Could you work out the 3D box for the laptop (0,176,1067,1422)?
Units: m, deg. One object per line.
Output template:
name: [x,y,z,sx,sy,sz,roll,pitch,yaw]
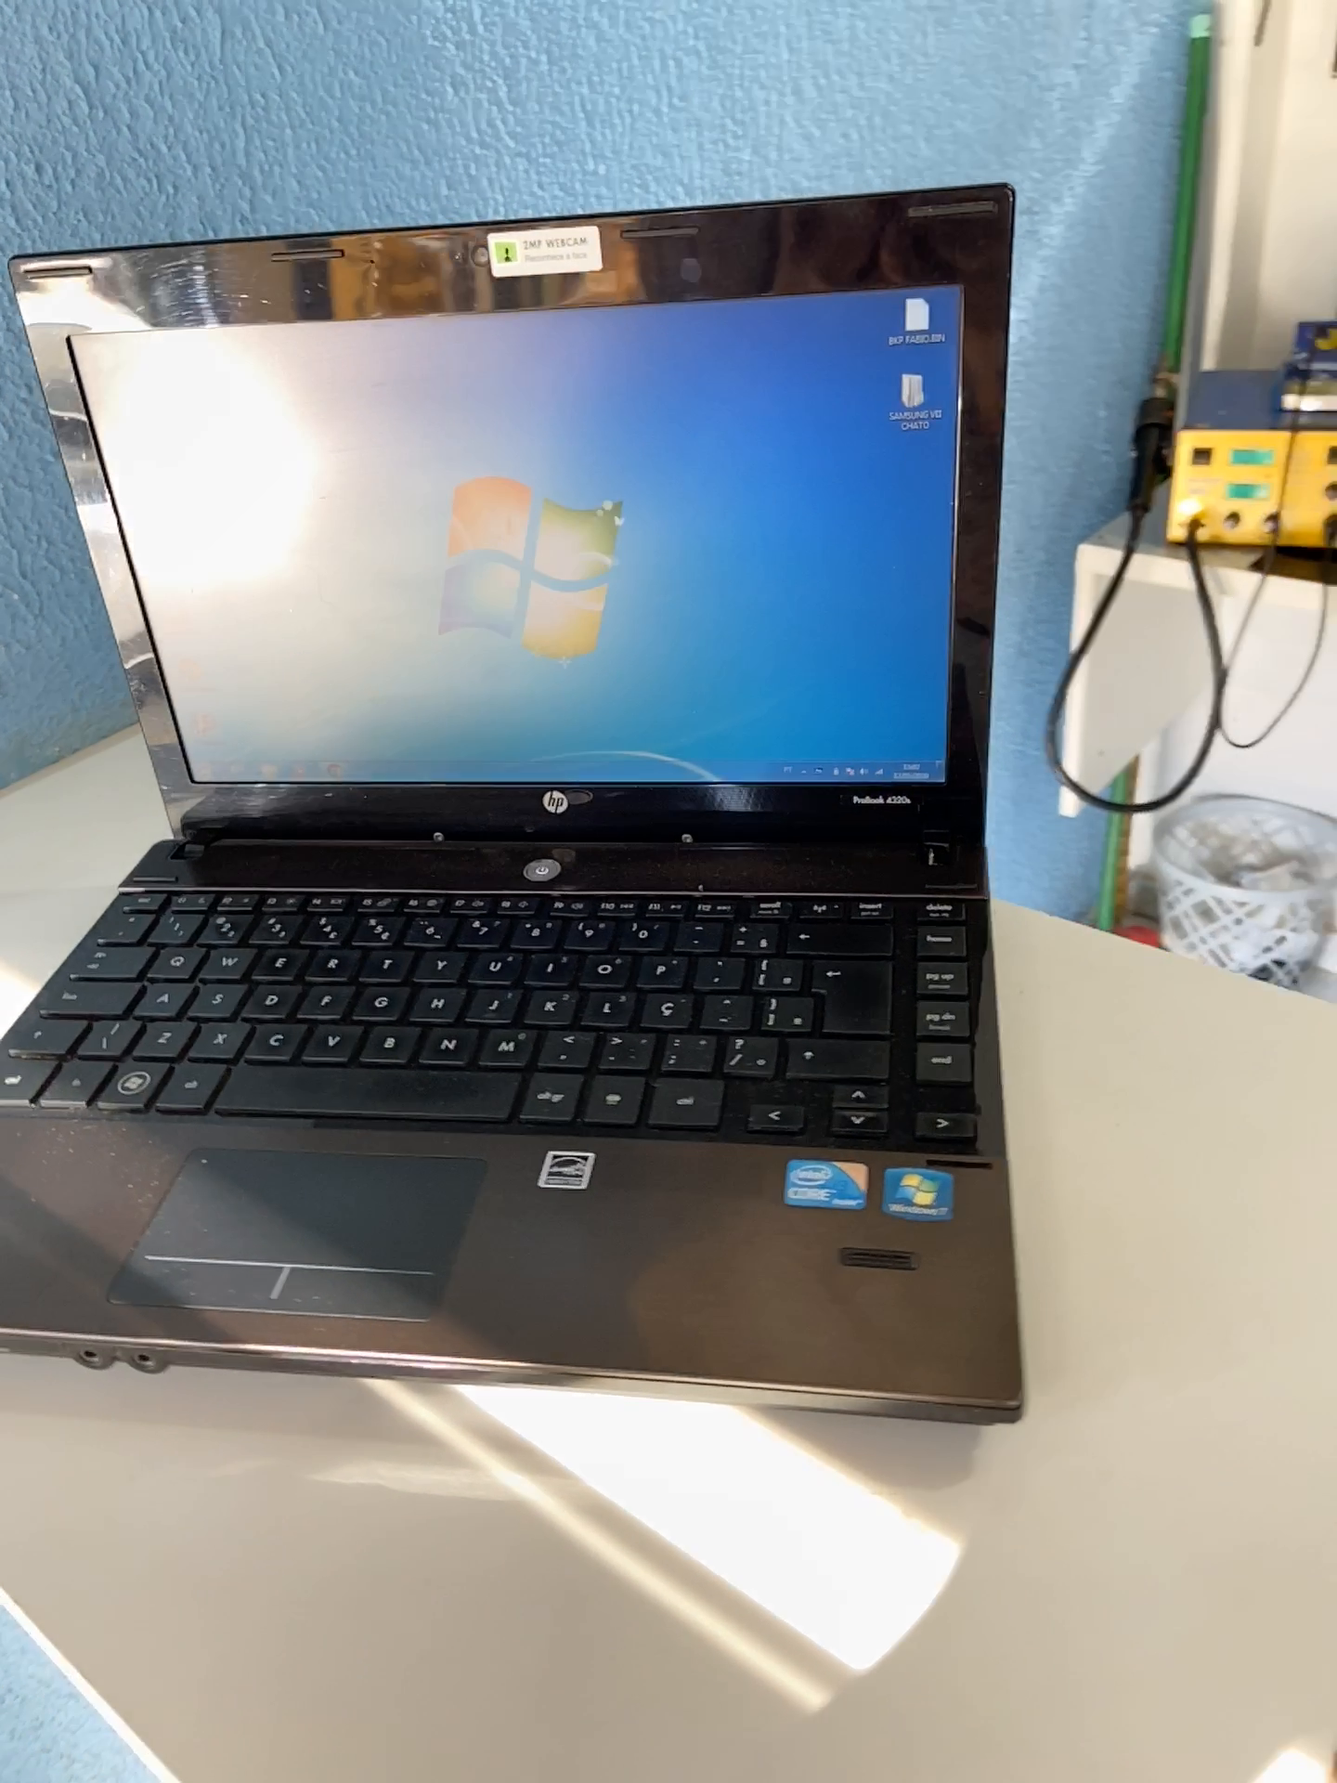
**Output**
laptop: [-0.068,-0.047,0.384,0.321,0.207,0.260,0,34,12]
